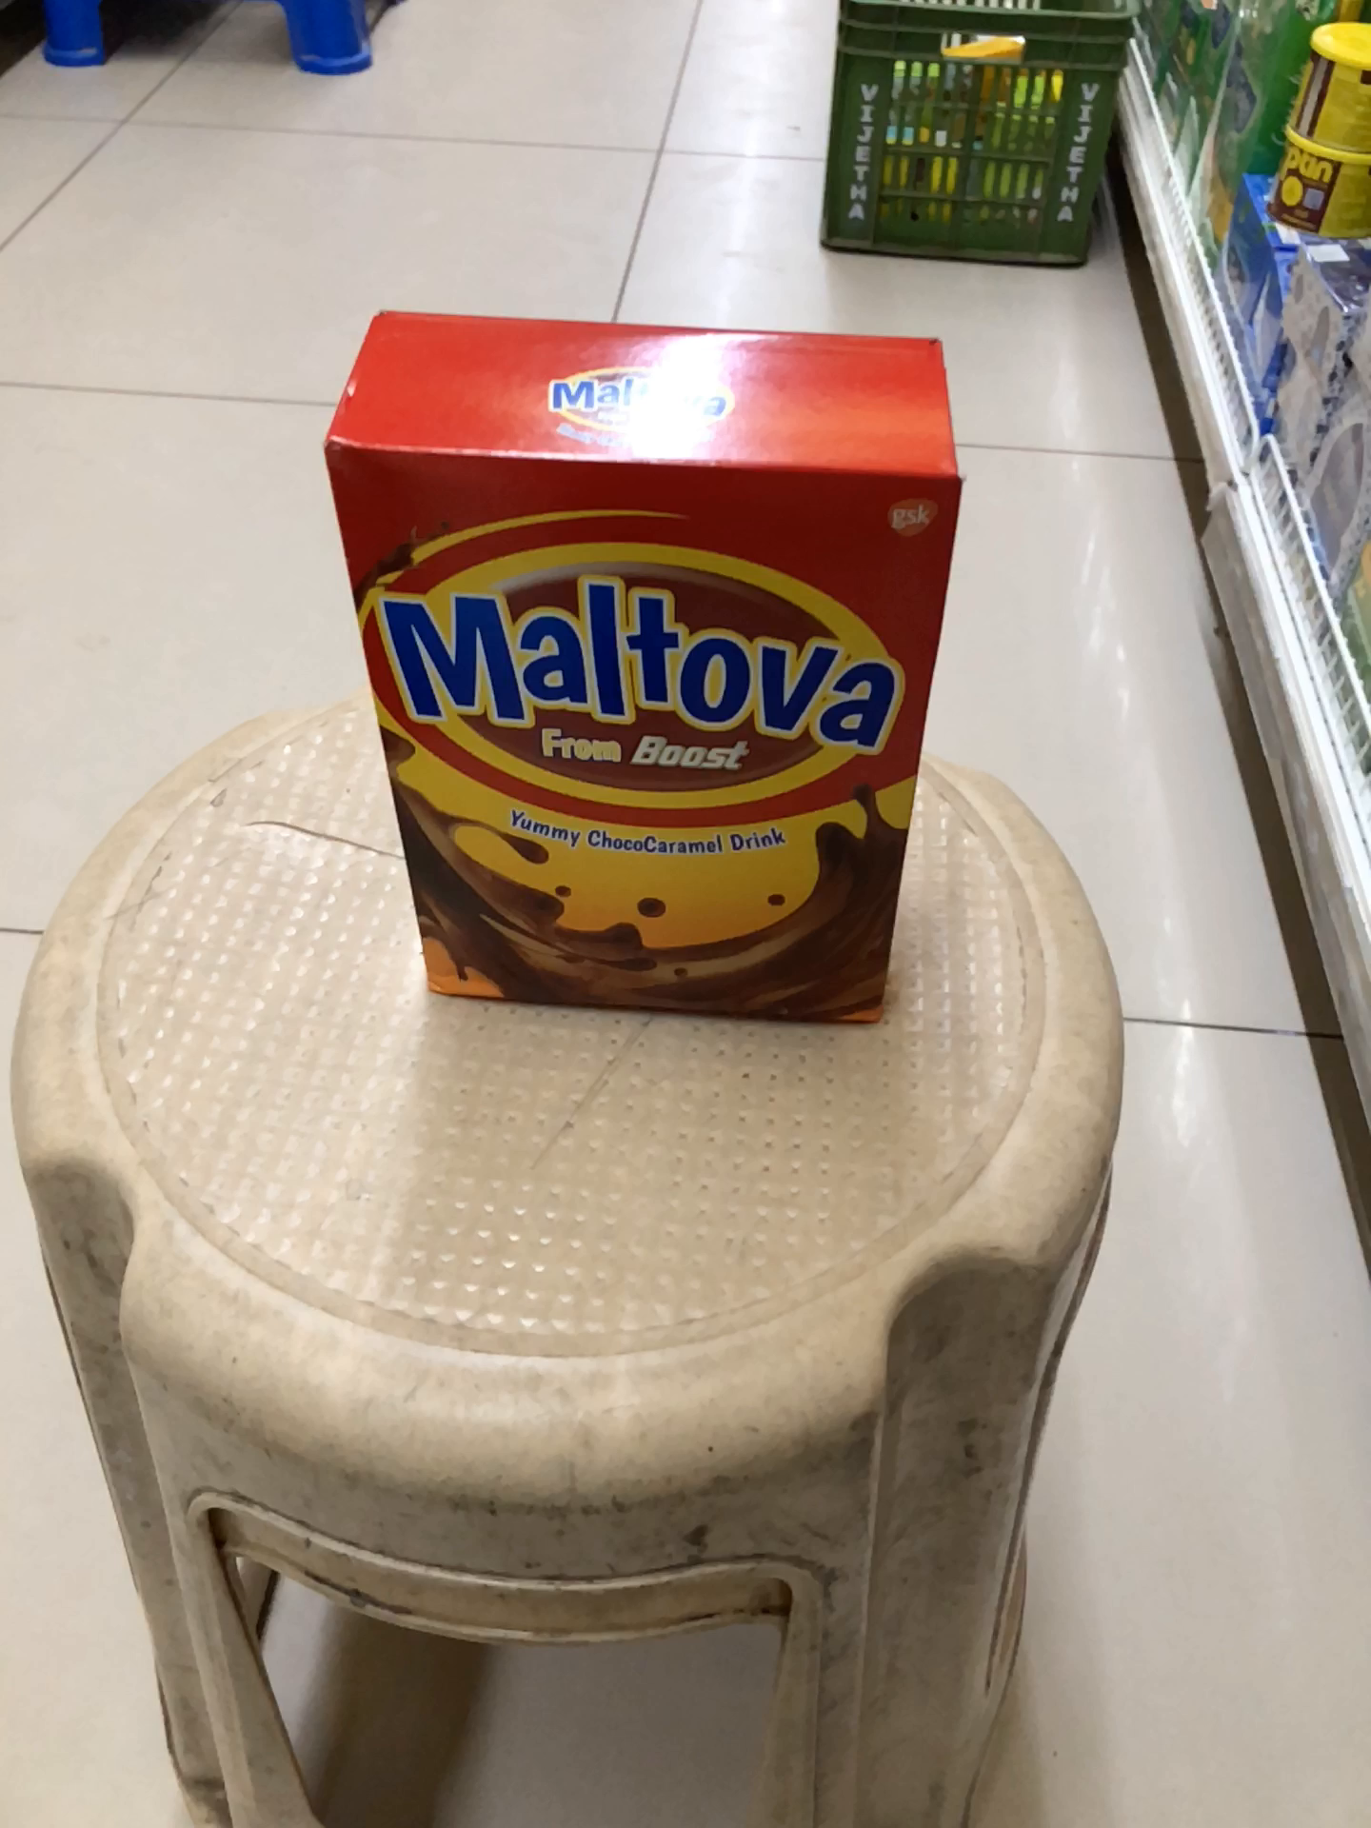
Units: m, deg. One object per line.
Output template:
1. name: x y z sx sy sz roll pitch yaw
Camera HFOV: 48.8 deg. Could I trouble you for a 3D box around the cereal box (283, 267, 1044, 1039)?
1. cereal box: -0.004 -0.057 0.386 0.150 0.179 0.070 4 46 2
